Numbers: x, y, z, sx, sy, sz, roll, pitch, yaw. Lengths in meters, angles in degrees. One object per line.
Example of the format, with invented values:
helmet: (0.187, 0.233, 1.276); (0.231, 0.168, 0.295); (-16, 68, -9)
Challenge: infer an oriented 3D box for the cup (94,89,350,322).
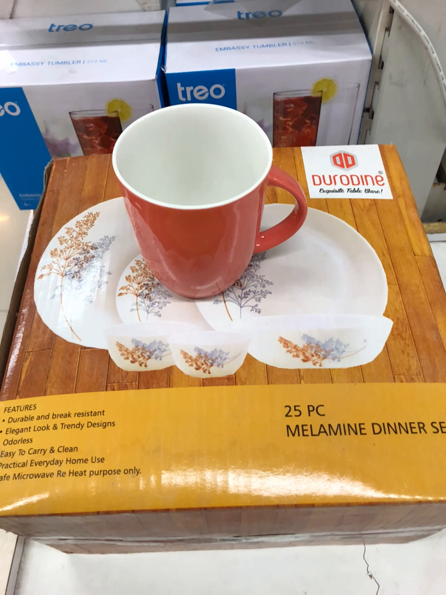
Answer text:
cup: (0.003, -0.051, 0.298); (0.120, 0.099, 0.090); (-1, 53, 4)
